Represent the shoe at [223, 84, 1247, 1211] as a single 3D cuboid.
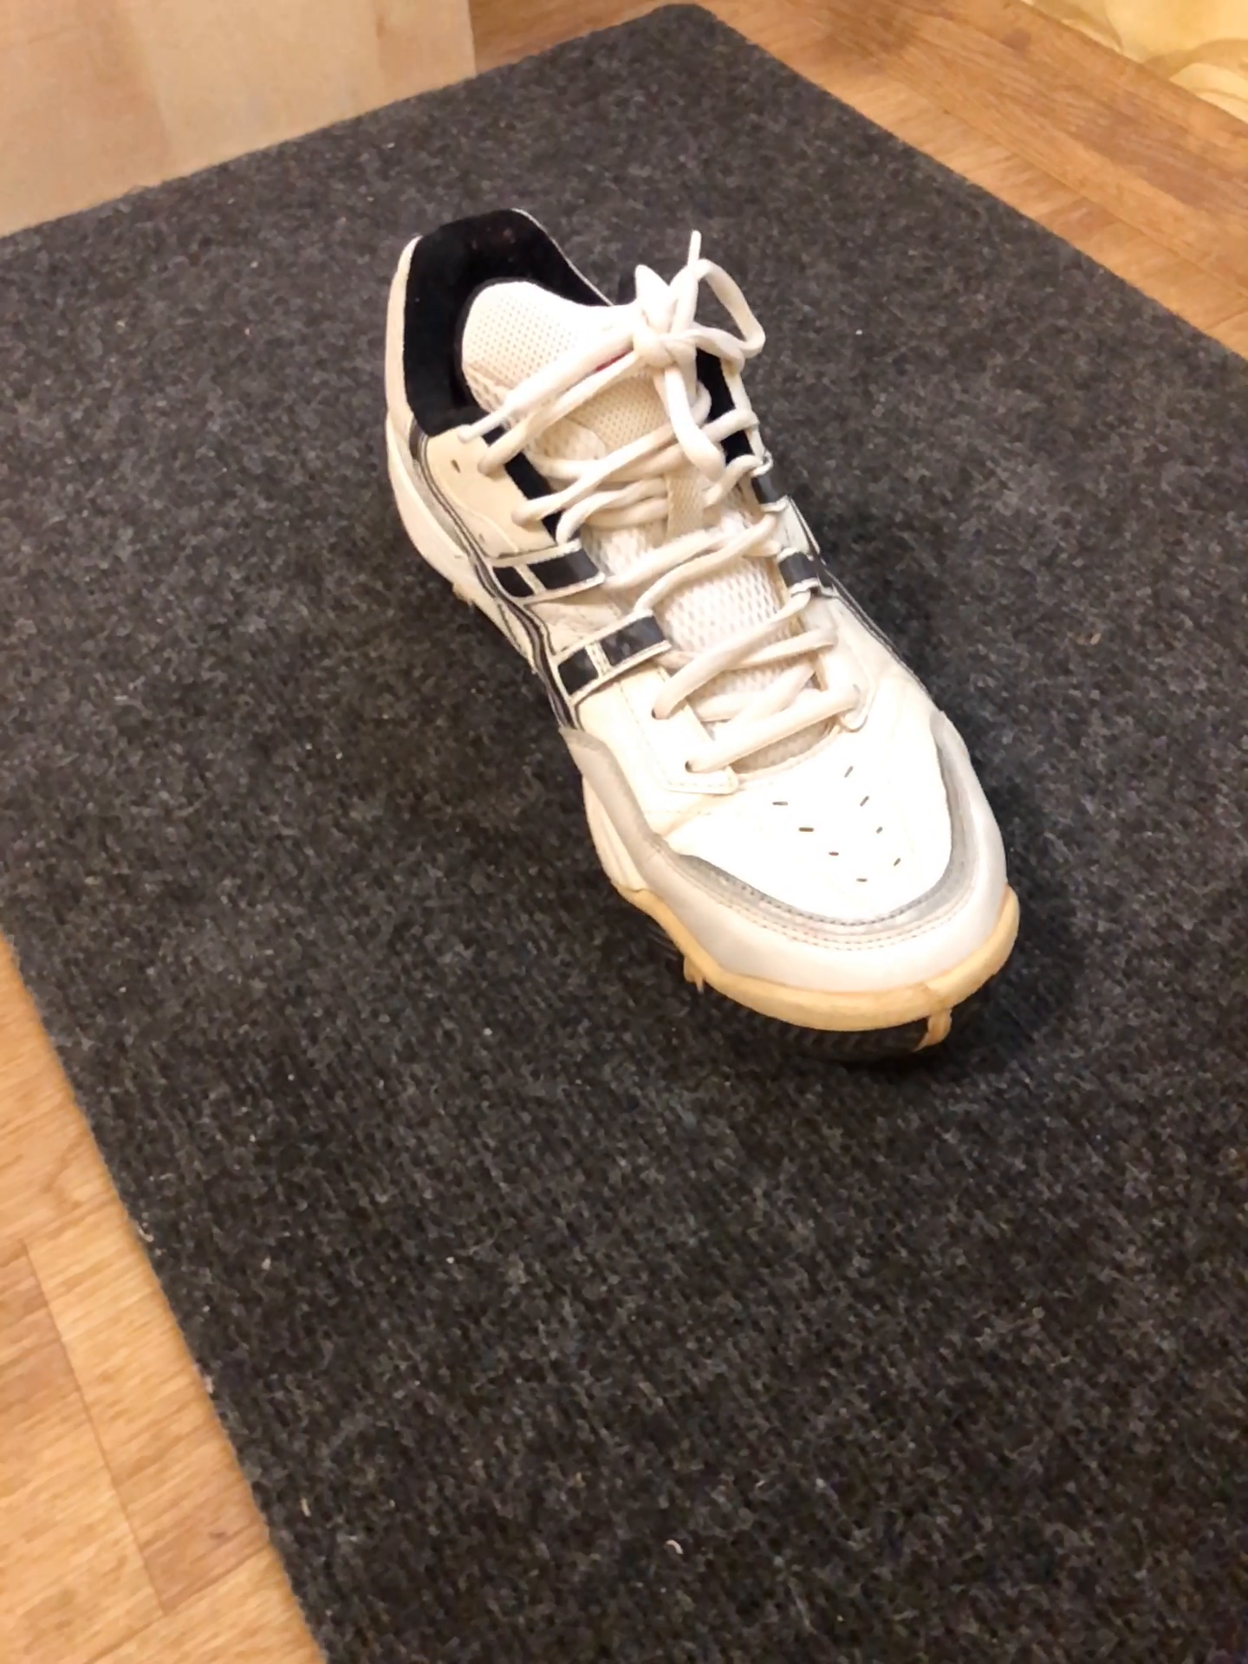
[{"bbox_3d":[0.004,-0.068,0.358,0.100,0.110,0.290,-24,55,-15],"label":"shoe"}]
